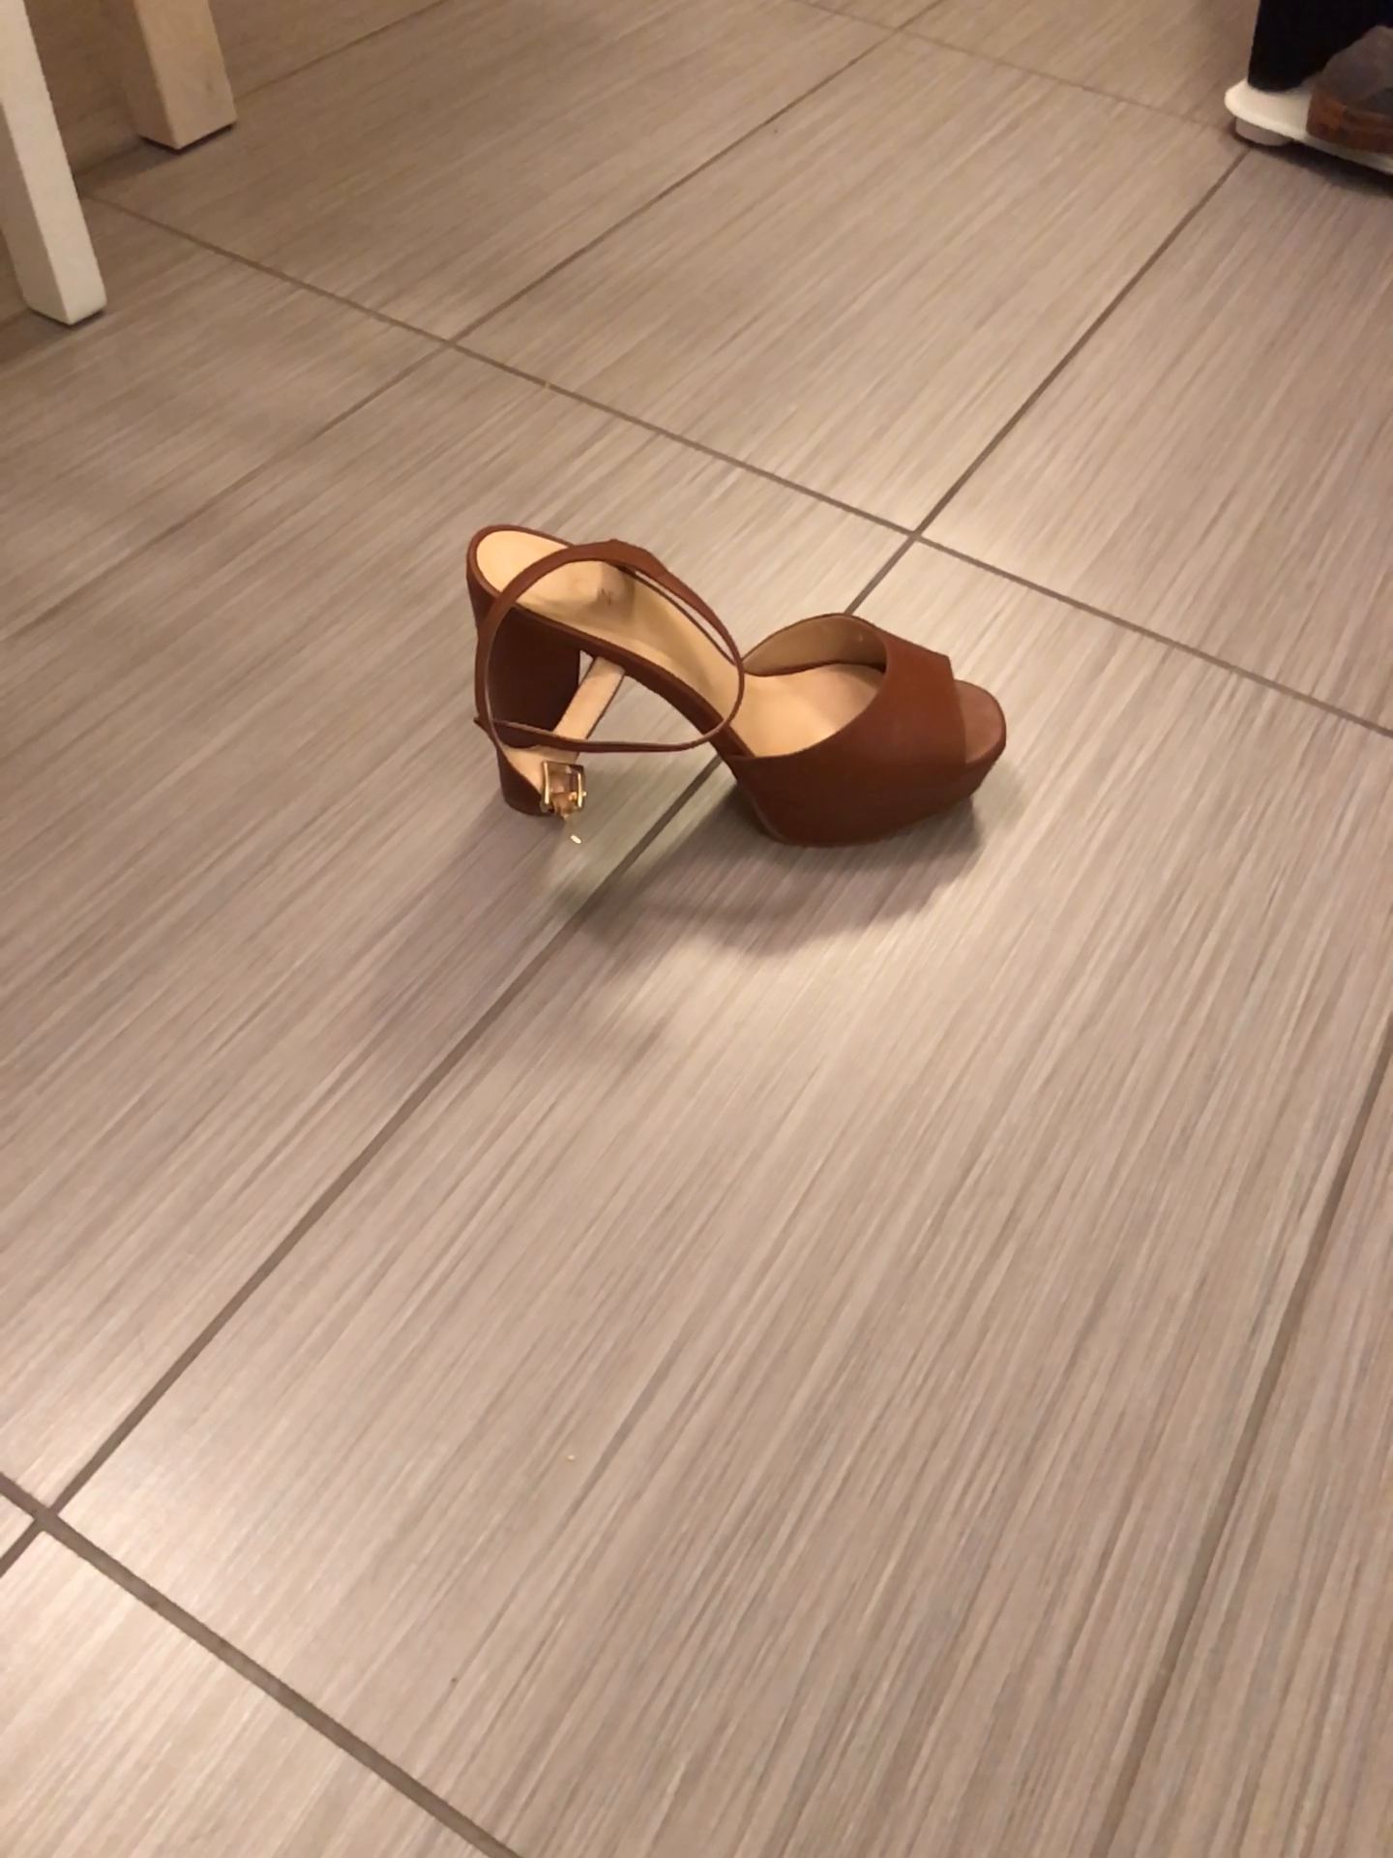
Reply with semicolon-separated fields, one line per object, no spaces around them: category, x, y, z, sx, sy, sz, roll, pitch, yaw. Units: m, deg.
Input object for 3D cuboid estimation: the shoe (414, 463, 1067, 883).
shoe;0.013;-0.103;0.628;0.240;0.089;0.111;6;50;-8
